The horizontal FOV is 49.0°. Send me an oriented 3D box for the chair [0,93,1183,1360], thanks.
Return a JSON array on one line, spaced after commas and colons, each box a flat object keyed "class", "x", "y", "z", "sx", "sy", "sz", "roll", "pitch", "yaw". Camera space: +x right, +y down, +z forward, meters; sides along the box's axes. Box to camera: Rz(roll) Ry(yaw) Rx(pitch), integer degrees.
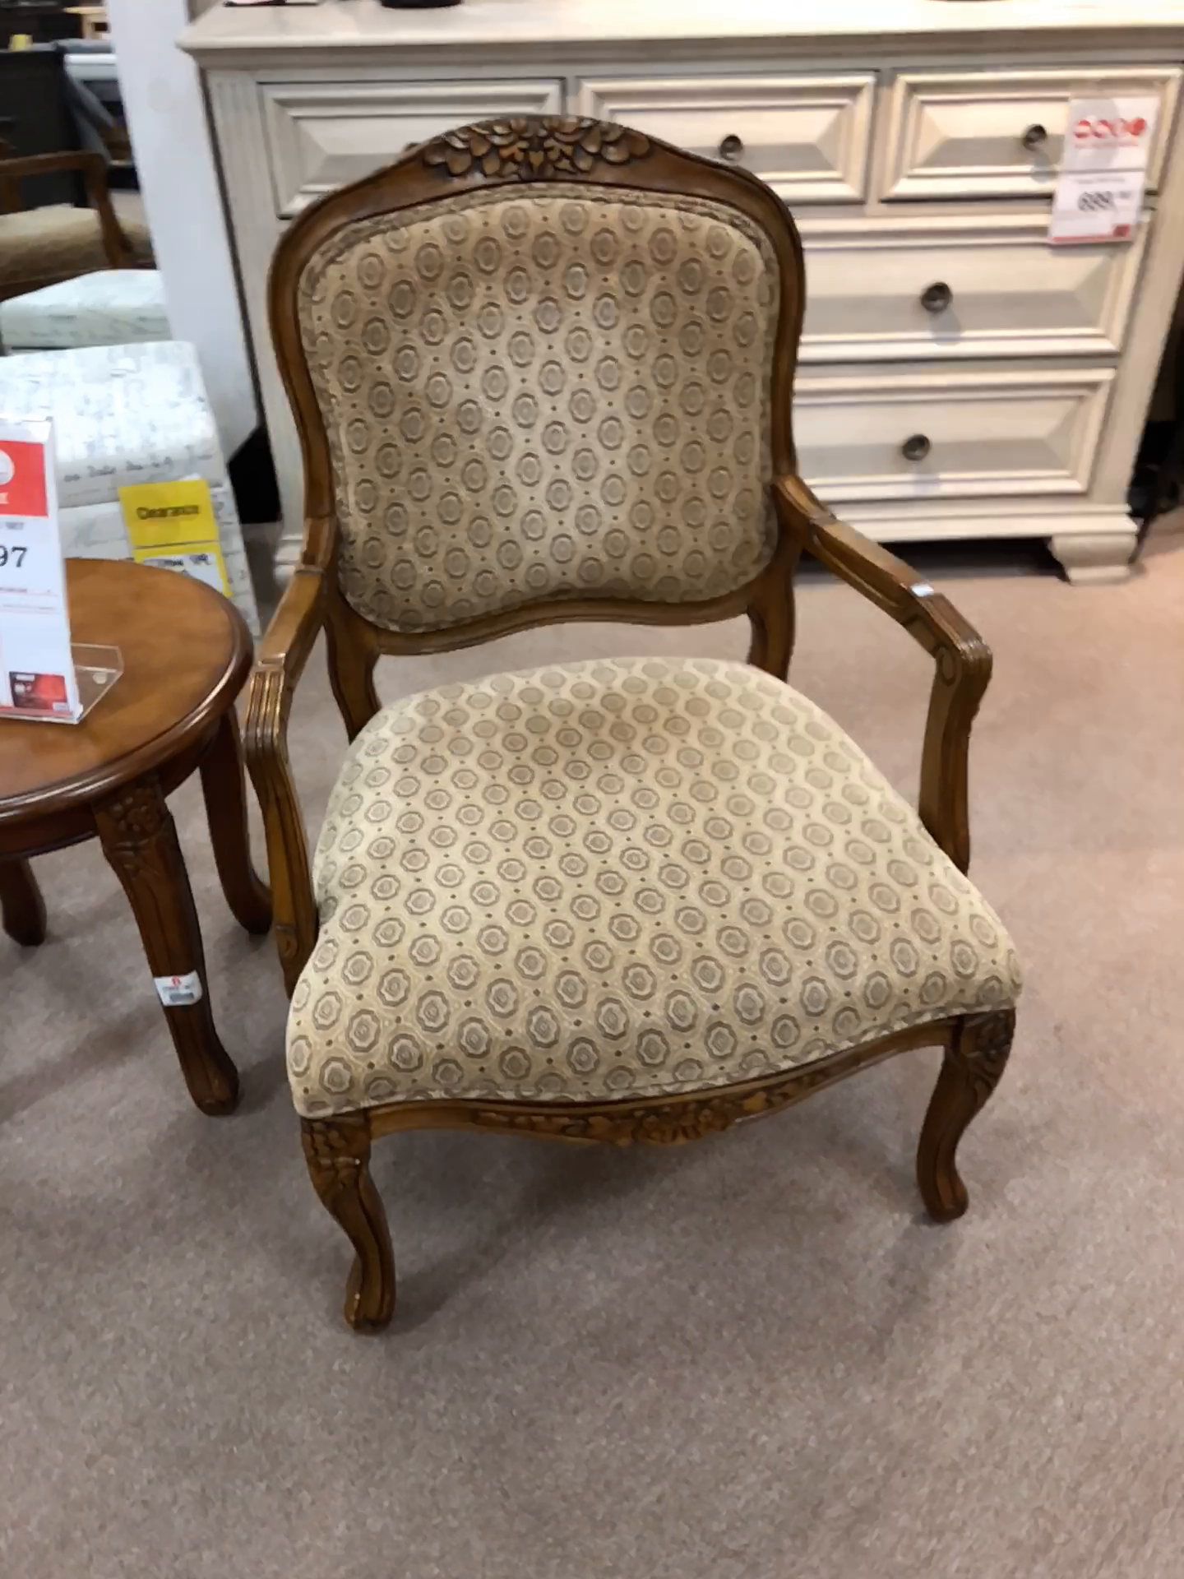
[{"class": "chair", "x": -0.017, "y": -0.070, "z": 1.395, "sx": 0.780, "sy": 1.062, "sz": 0.705, "roll": -7, "pitch": 38, "yaw": -8}]
